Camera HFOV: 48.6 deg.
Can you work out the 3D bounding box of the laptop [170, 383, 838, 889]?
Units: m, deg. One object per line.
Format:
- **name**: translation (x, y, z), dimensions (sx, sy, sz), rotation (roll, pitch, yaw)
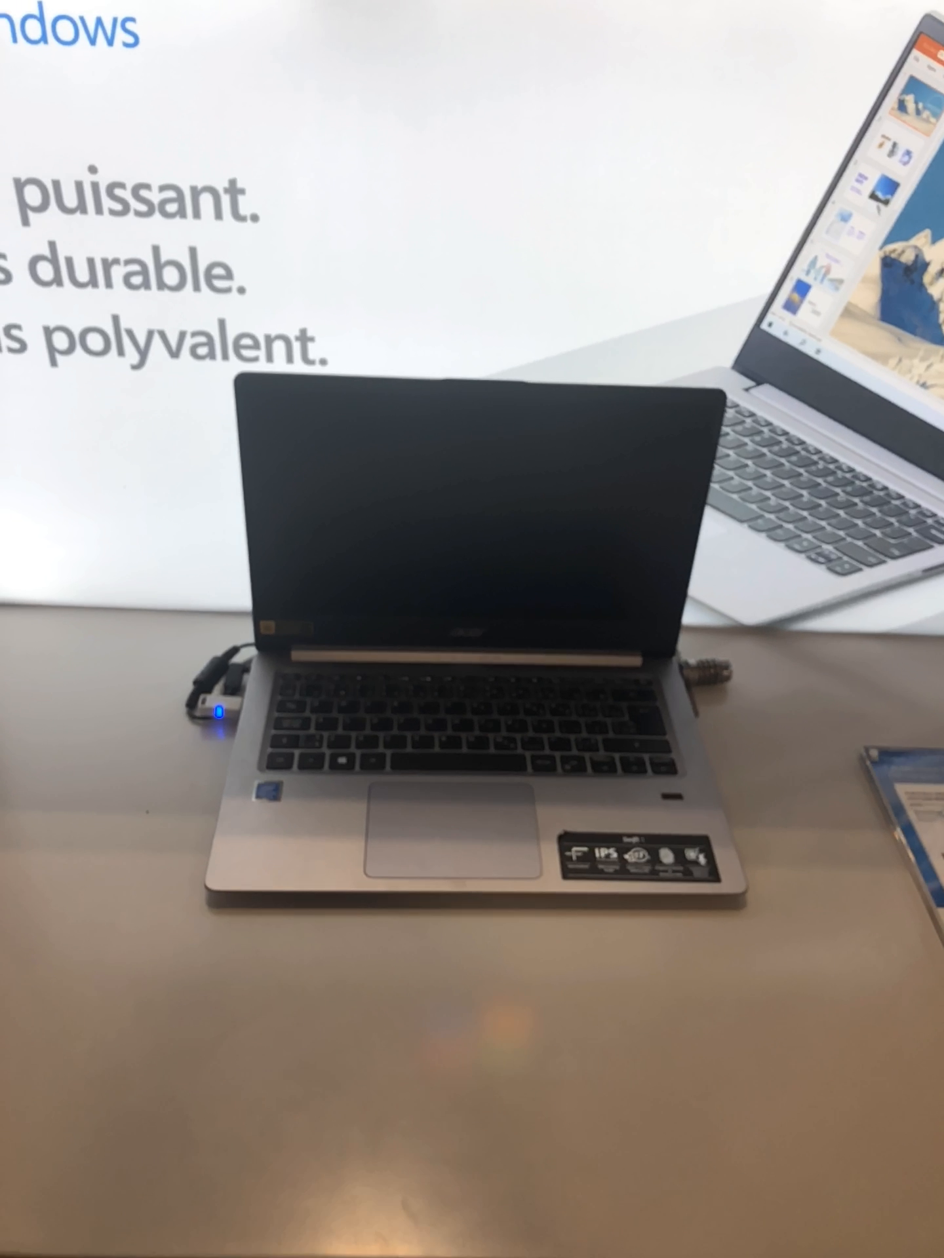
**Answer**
- **laptop**: translation (0.008, -0.002, 0.637), dimensions (0.311, 0.210, 0.227), rotation (1, 35, -3)
